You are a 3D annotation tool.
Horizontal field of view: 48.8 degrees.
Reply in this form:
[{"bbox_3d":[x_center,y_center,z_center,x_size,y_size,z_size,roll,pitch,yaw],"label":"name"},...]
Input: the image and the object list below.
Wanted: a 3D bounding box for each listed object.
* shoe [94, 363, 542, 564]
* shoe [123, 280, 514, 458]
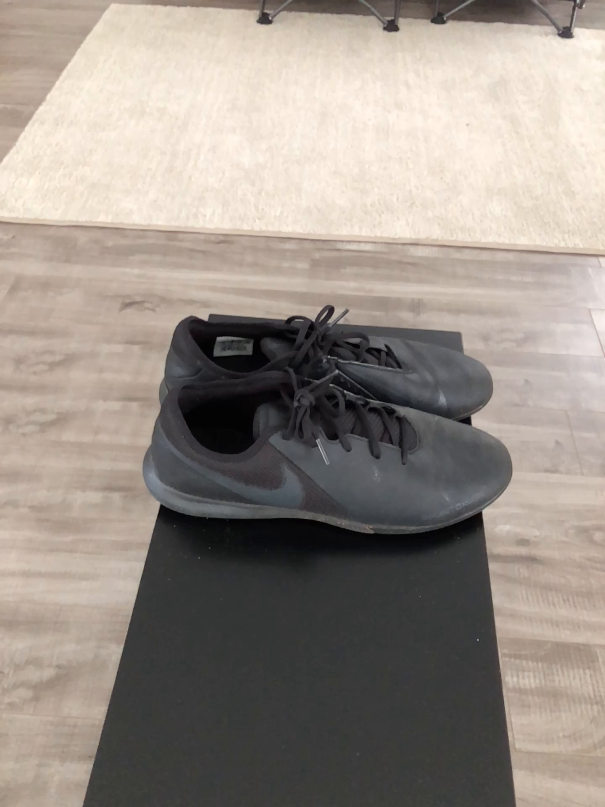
[{"bbox_3d":[0.010,0.047,0.512,0.294,0.110,0.100,1,48,0],"label":"shoe"},{"bbox_3d":[0.010,-0.029,0.575,0.294,0.110,0.100,-1,48,-2],"label":"shoe"}]
